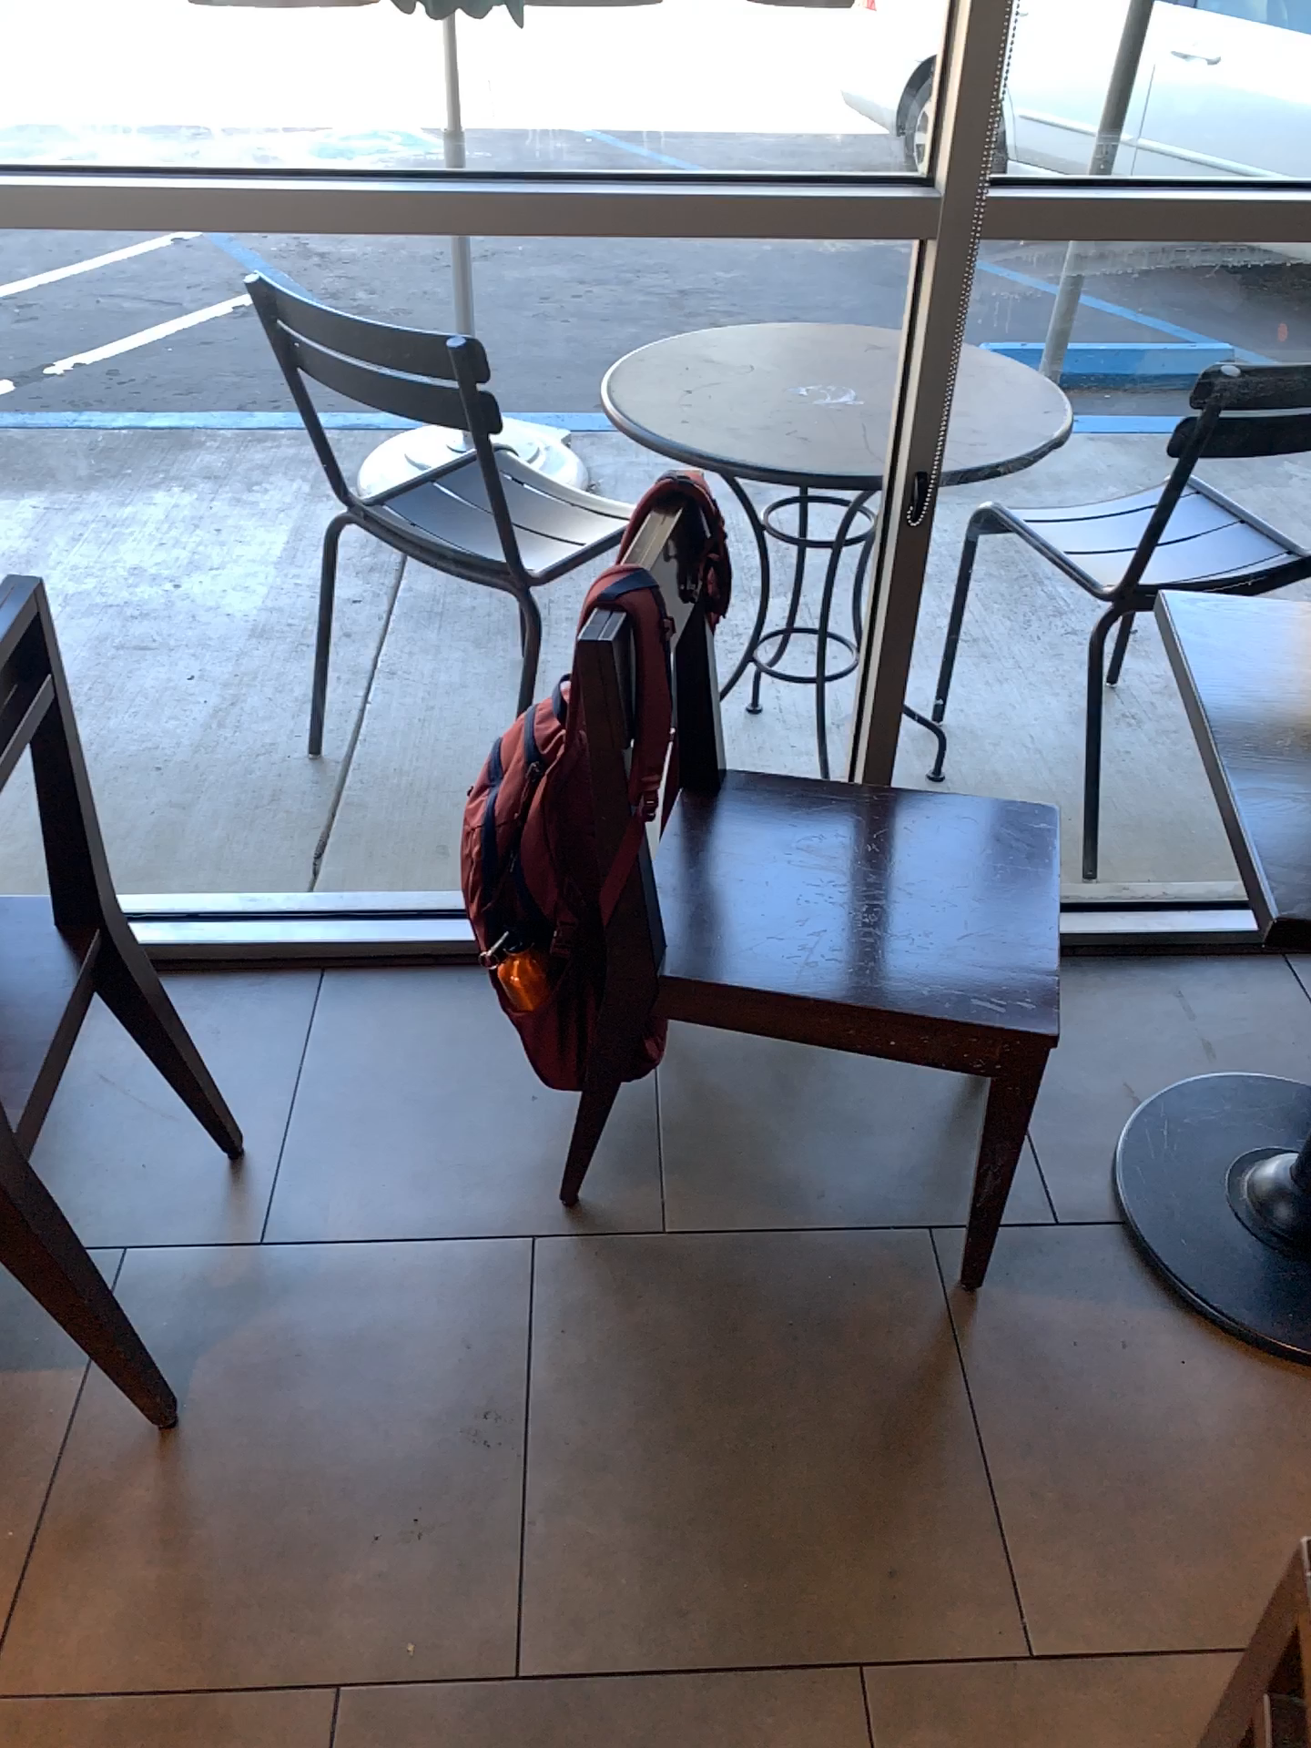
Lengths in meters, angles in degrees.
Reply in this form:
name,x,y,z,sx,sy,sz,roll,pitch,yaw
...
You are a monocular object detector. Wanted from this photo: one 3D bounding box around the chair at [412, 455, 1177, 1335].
name,x,y,z,sx,sy,sz,roll,pitch,yaw
chair,0.179,0.011,1.815,0.740,0.855,0.694,8,39,8
